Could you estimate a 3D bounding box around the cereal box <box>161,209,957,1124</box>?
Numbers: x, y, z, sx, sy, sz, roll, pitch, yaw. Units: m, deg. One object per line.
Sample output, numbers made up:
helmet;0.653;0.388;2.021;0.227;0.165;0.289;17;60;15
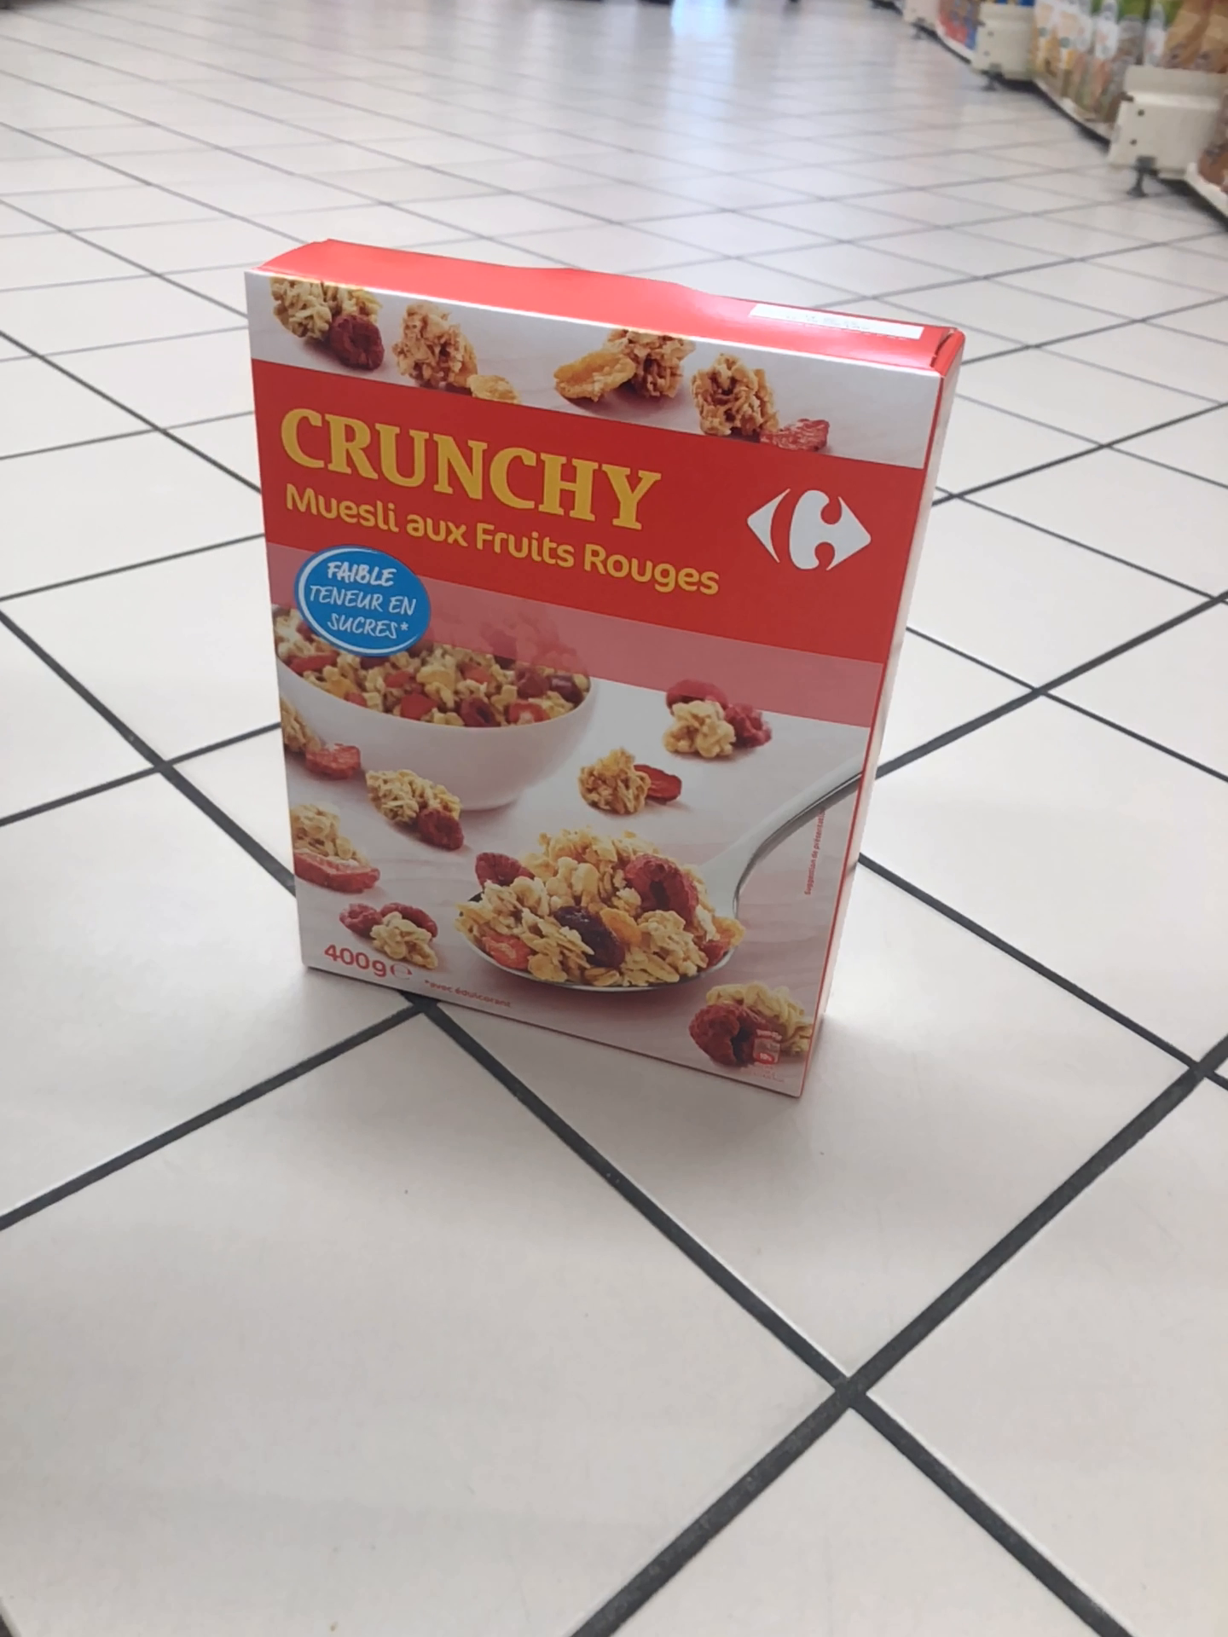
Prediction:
cereal box;-0.022;-0.039;0.423;0.200;0.248;0.060;13;35;12
